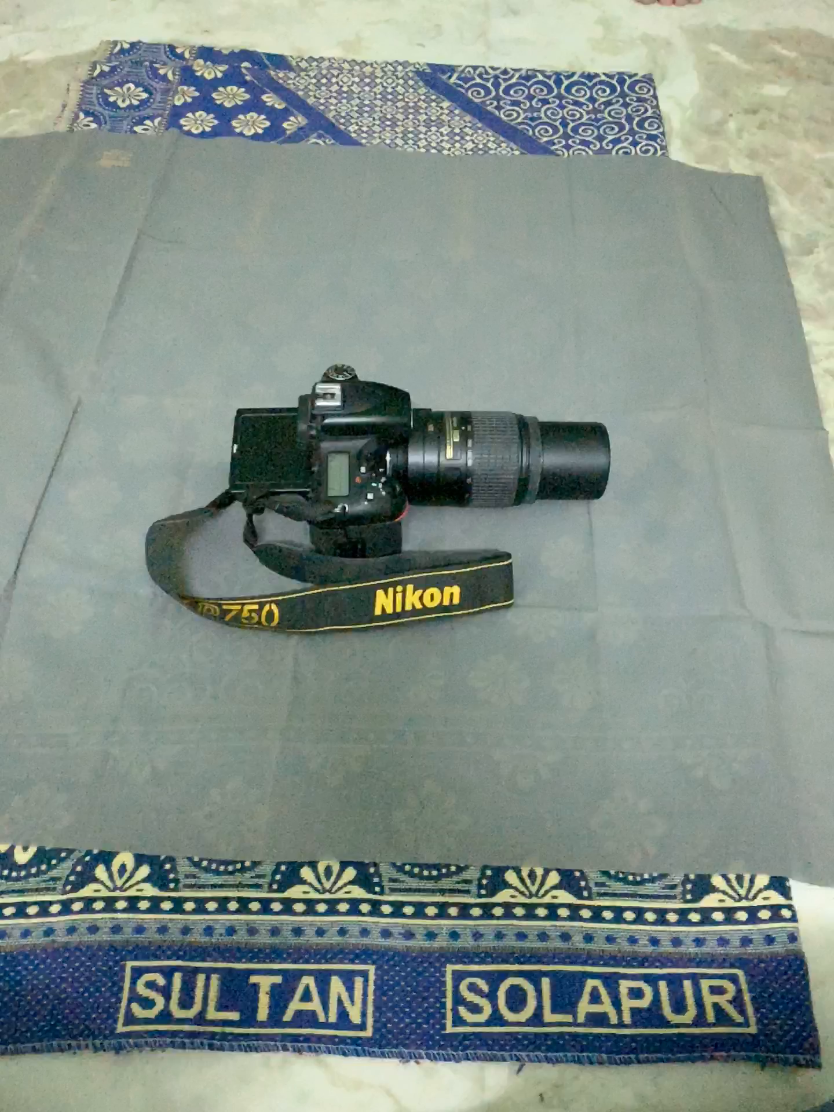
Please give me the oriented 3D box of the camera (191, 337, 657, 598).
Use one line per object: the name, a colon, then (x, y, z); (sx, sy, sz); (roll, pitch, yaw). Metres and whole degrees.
camera: (0.005, -0.062, 0.612); (0.288, 0.110, 0.147); (1, 59, 0)
